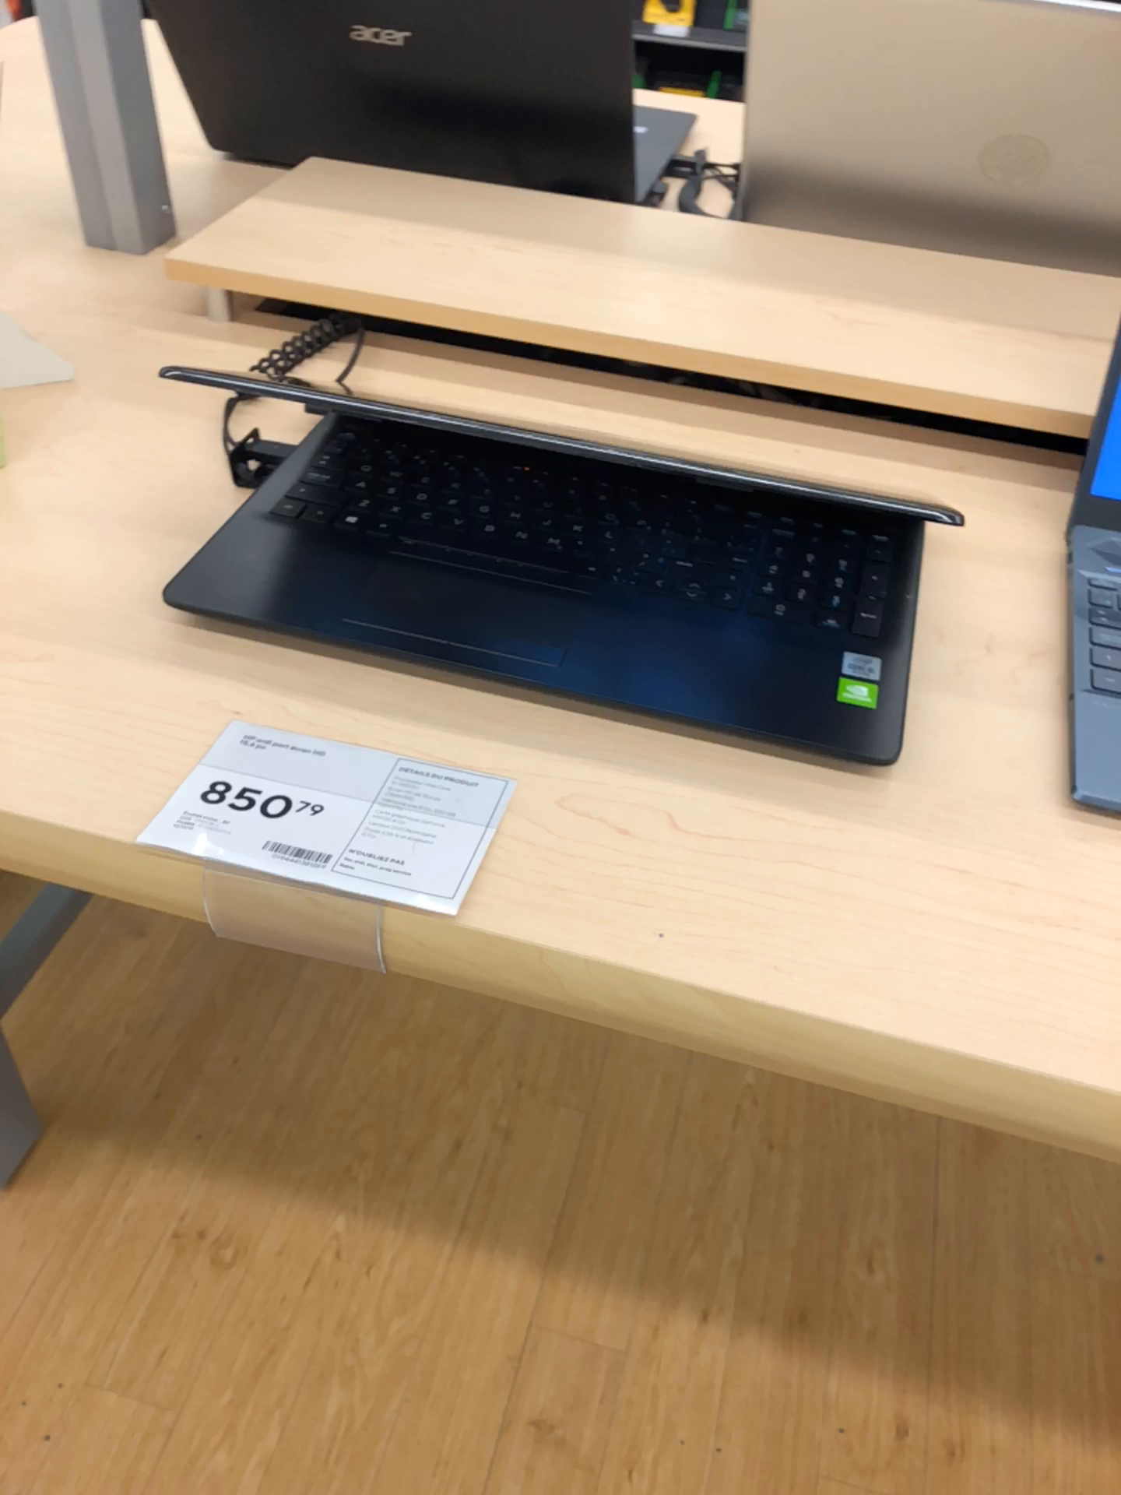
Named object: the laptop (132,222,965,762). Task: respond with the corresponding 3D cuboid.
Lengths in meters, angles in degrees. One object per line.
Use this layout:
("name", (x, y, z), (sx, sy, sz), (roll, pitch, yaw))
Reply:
("laptop", (0.009, -0.154, 0.652), (0.371, 0.115, 0.240), (13, 42, 11))
